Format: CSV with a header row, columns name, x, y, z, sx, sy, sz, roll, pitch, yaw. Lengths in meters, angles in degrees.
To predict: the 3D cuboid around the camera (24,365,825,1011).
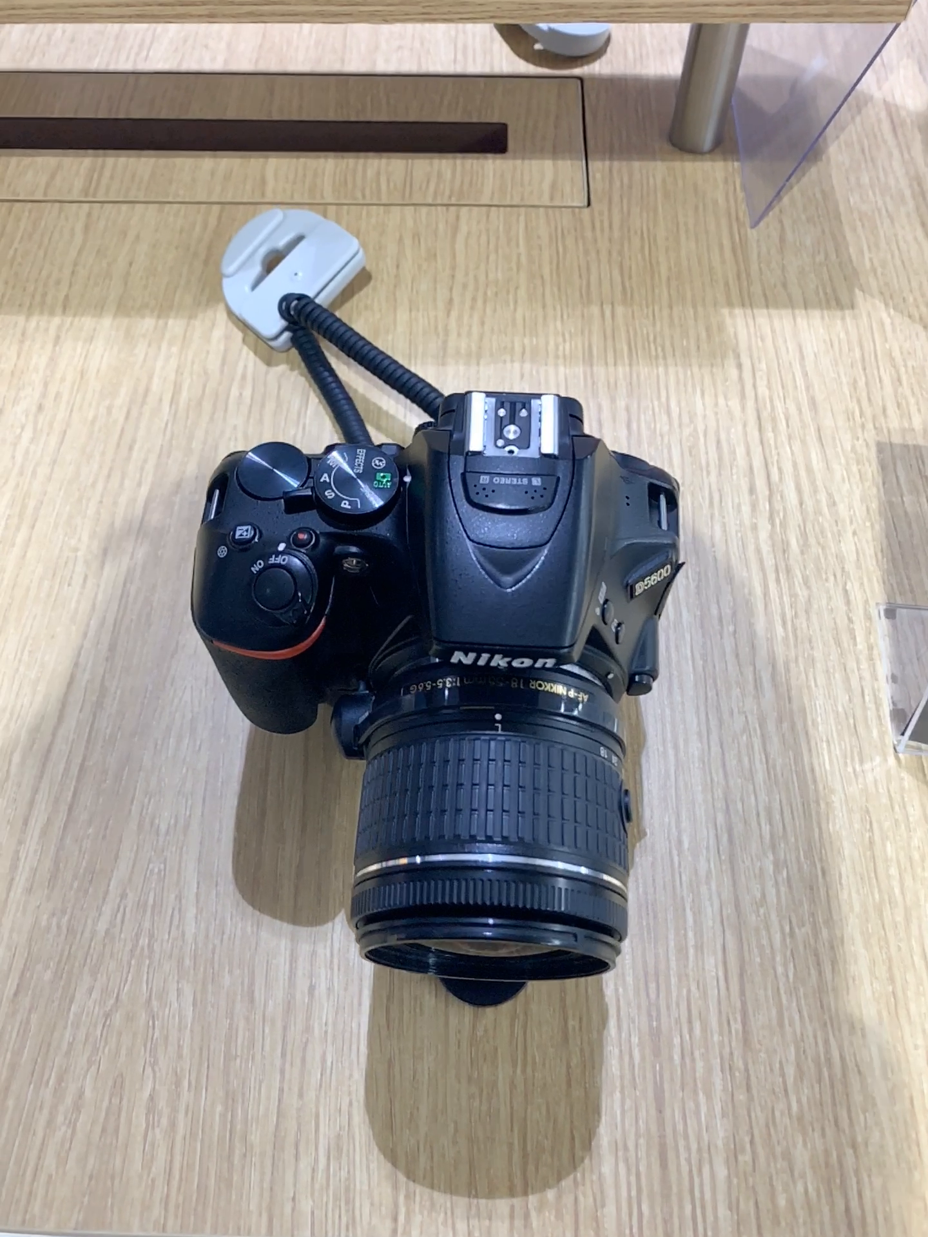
name,x,y,z,sx,sy,sz,roll,pitch,yaw
camera,-0.005,0.017,0.211,0.124,0.080,0.114,2,60,0
